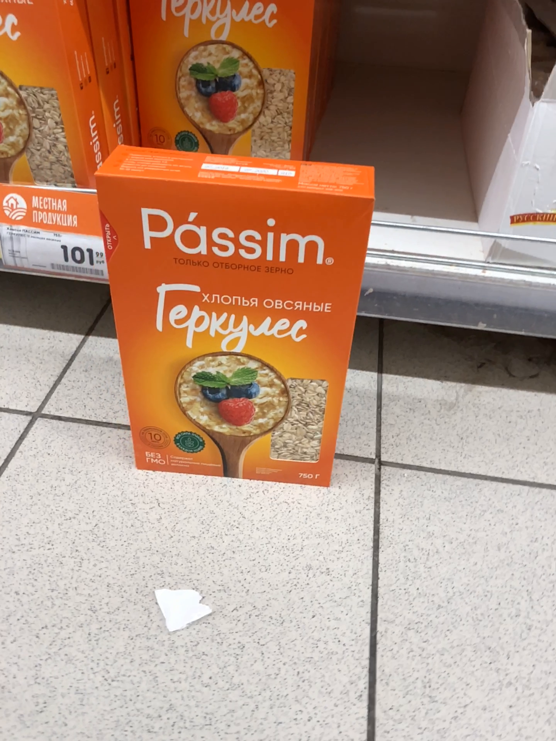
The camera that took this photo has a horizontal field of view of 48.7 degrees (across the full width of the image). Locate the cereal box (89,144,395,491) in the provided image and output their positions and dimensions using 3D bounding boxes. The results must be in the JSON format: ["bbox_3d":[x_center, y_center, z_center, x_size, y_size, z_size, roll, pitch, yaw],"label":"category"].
[{"bbox_3d":[-0.024,-0.022,0.438,0.170,0.249,0.050,5,40,2],"label":"cereal box"}]
